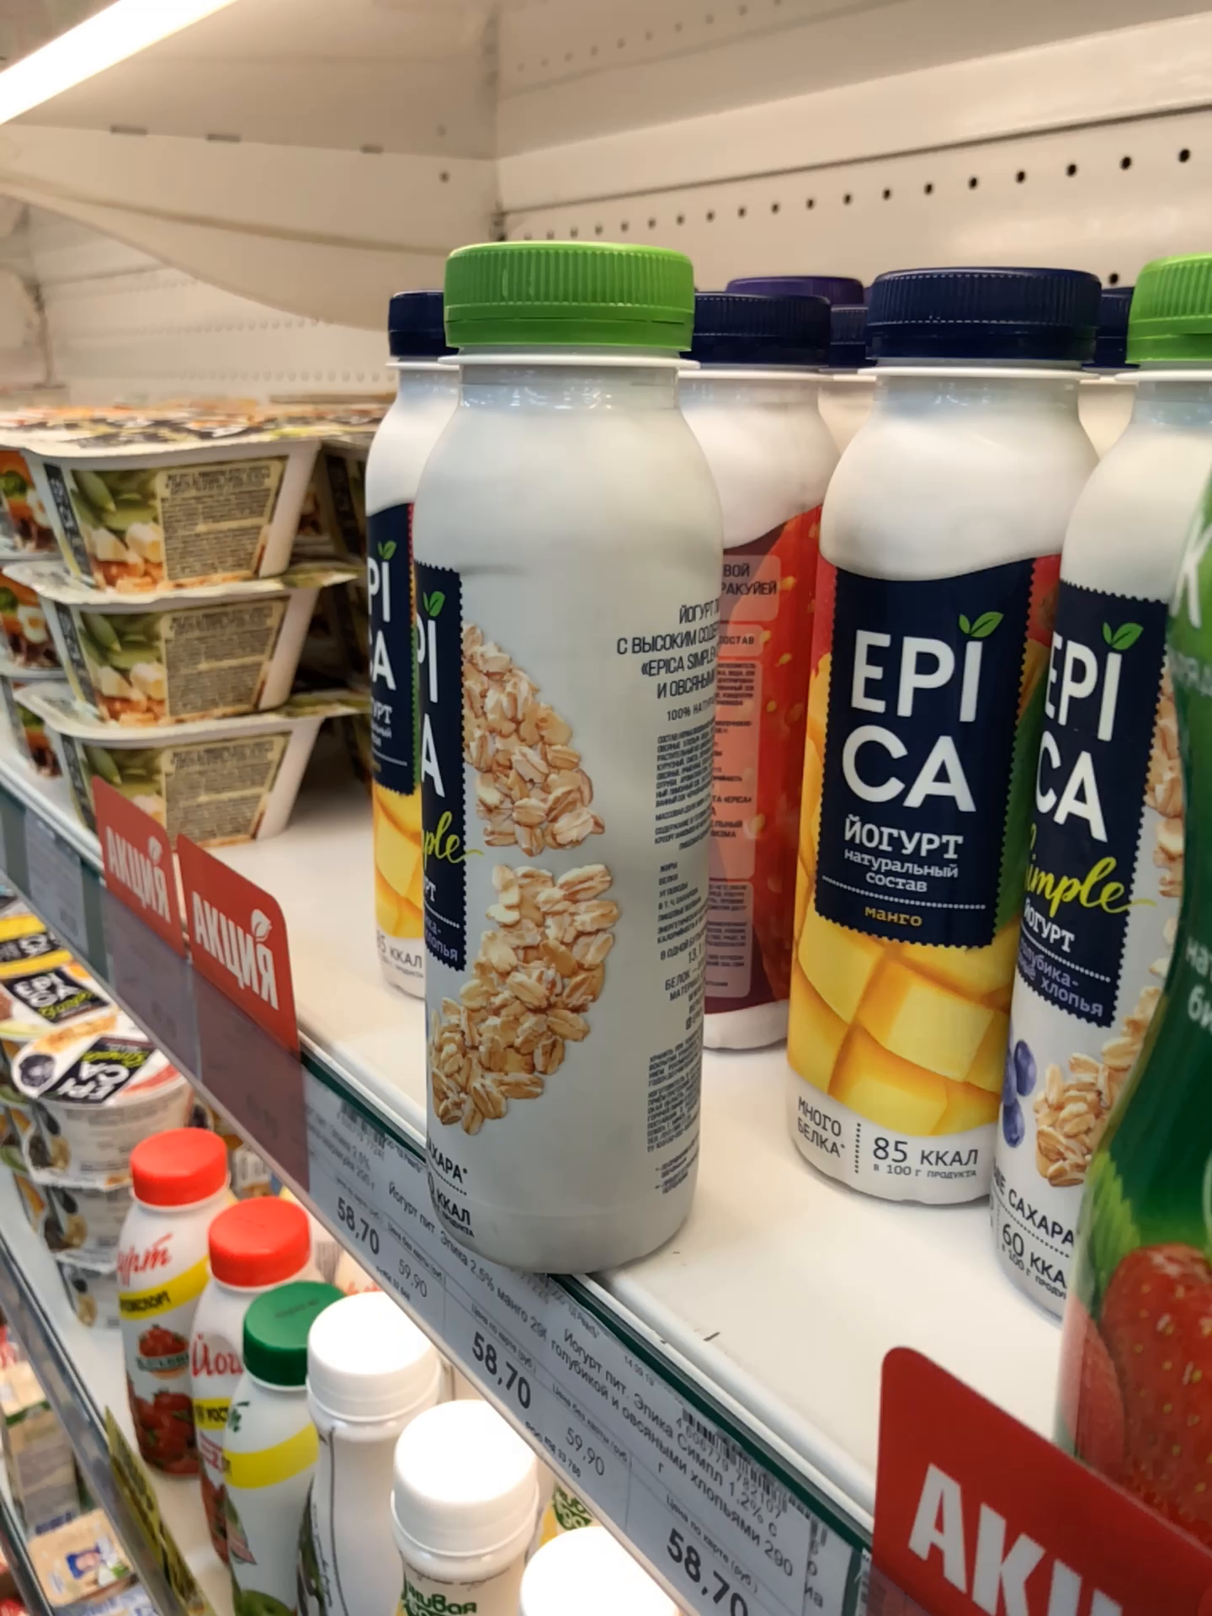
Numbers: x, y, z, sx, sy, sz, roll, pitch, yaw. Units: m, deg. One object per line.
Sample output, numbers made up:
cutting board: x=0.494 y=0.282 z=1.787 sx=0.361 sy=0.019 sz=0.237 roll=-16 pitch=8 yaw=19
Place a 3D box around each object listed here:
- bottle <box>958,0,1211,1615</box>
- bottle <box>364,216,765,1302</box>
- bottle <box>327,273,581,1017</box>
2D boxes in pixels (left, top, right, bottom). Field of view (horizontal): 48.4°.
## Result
bottle: x=0.080 y=0.015 z=0.143 sx=0.052 sy=0.182 sz=0.053 roll=0 pitch=17 yaw=0
bottle: x=-0.009 y=-0.007 z=0.235 sx=0.052 sy=0.170 sz=0.053 roll=0 pitch=17 yaw=0
bottle: x=-0.037 y=-0.040 z=0.336 sx=0.049 sy=0.170 sz=0.053 roll=0 pitch=17 yaw=0
